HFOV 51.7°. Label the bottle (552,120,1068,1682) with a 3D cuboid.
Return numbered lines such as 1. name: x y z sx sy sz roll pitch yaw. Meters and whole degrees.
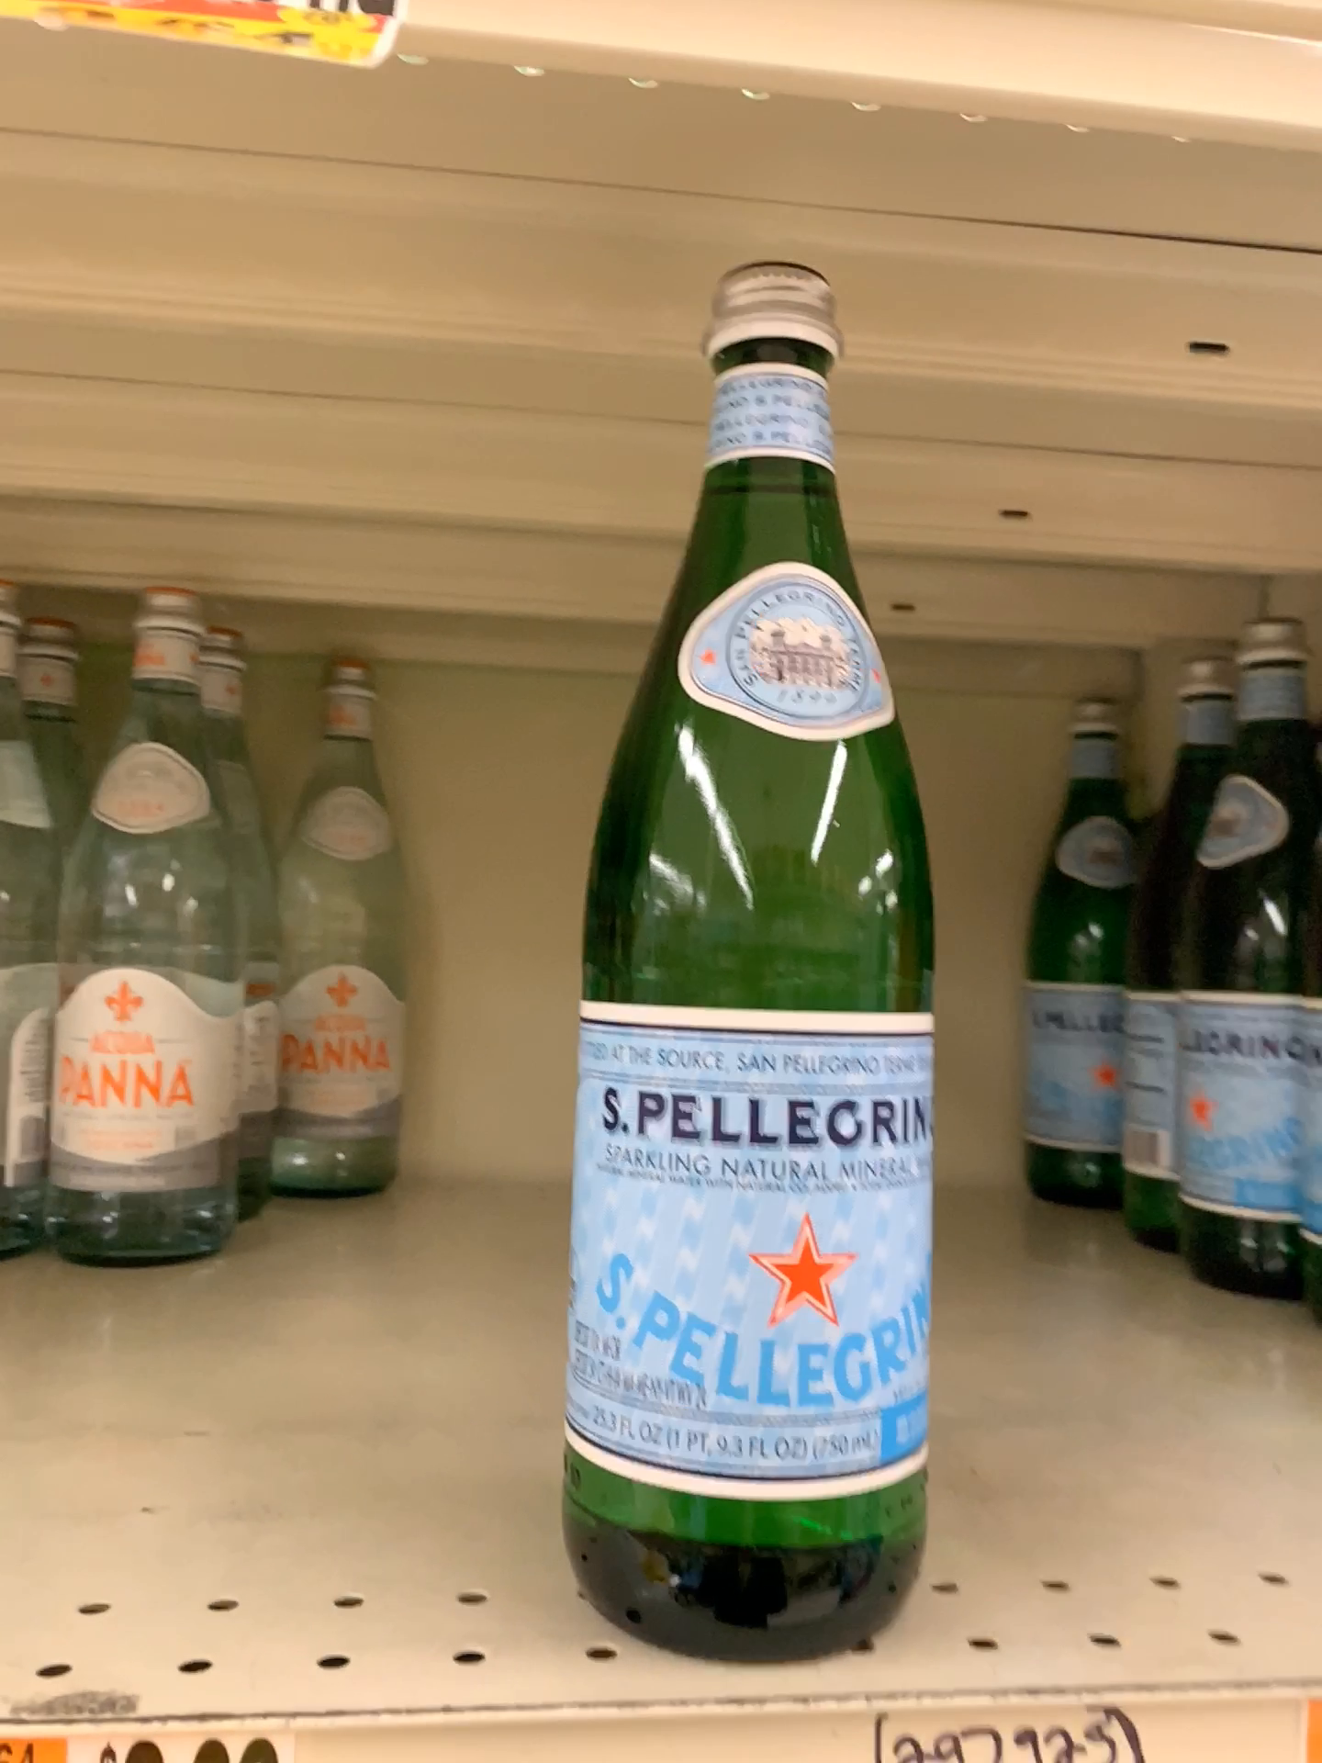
1. bottle: 0.026 0.003 0.301 0.090 0.290 0.090 2 -2 0
